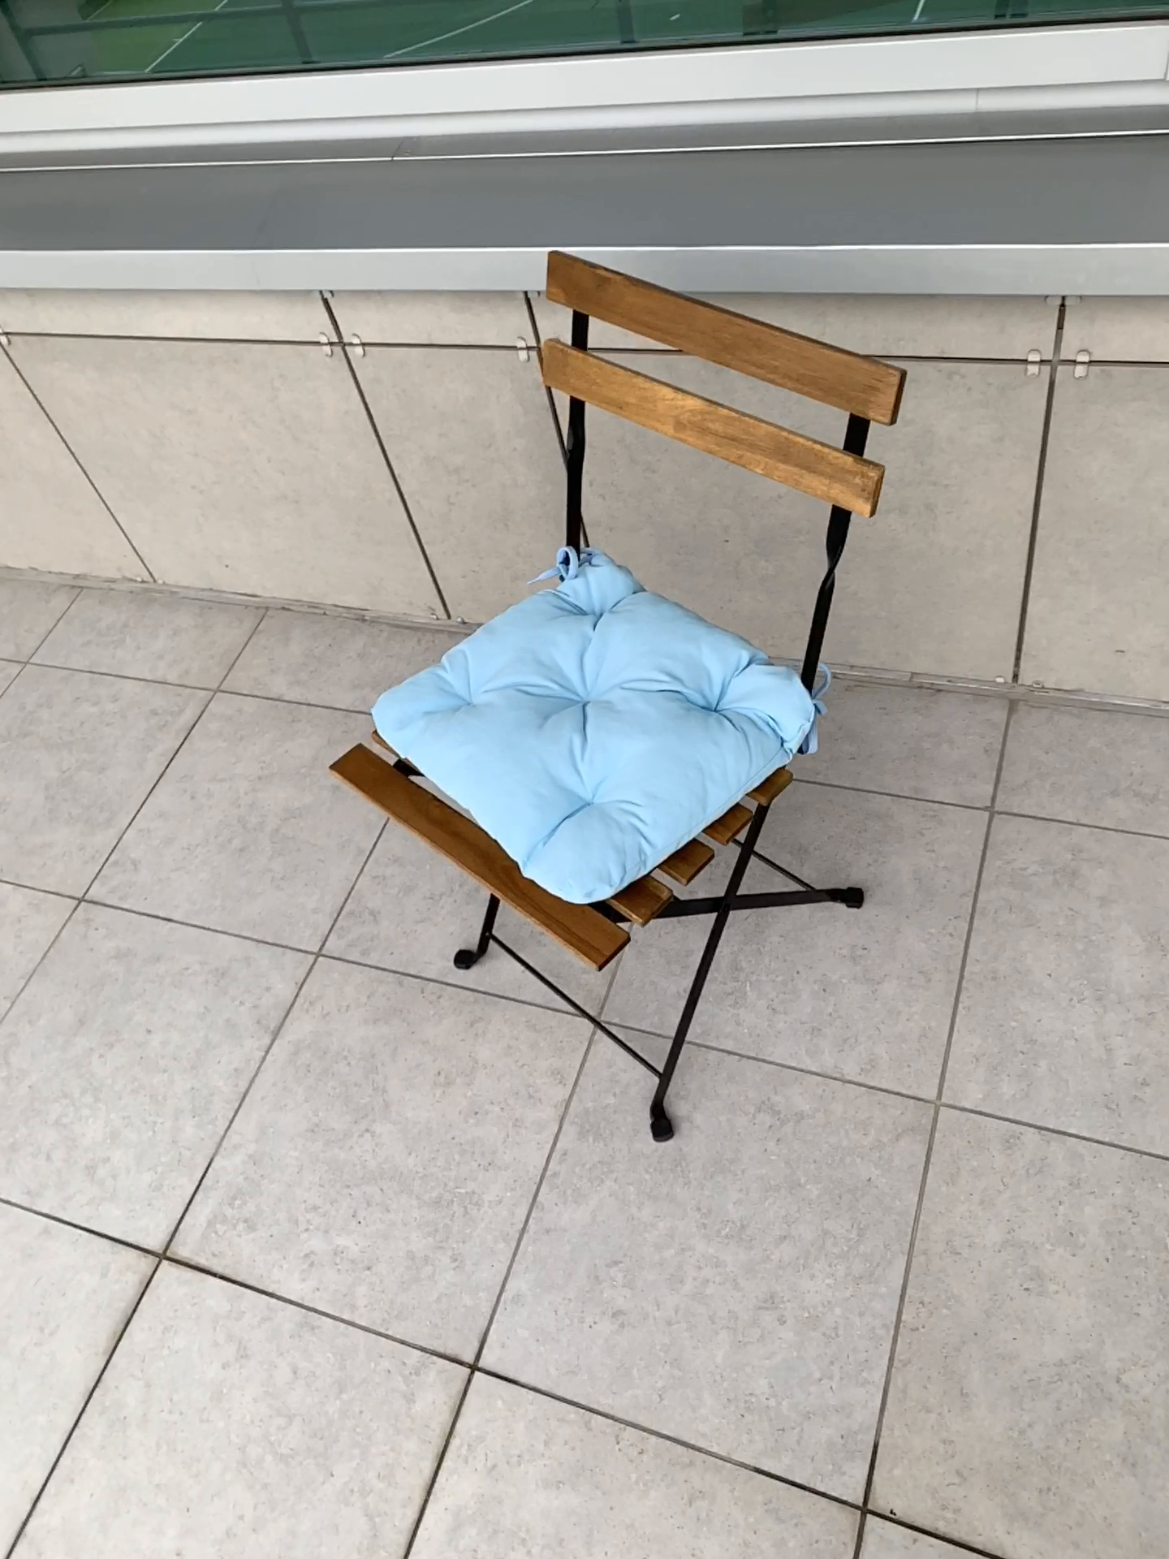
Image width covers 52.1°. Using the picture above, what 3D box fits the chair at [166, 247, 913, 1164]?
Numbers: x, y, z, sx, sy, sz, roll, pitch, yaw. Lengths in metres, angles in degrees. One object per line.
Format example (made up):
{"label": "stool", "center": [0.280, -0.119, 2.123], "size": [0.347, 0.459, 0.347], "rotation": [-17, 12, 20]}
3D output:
{"label": "chair", "center": [0.025, -0.041, 1.245], "size": [0.418, 0.749, 0.452], "rotation": [33, 66, 33]}
